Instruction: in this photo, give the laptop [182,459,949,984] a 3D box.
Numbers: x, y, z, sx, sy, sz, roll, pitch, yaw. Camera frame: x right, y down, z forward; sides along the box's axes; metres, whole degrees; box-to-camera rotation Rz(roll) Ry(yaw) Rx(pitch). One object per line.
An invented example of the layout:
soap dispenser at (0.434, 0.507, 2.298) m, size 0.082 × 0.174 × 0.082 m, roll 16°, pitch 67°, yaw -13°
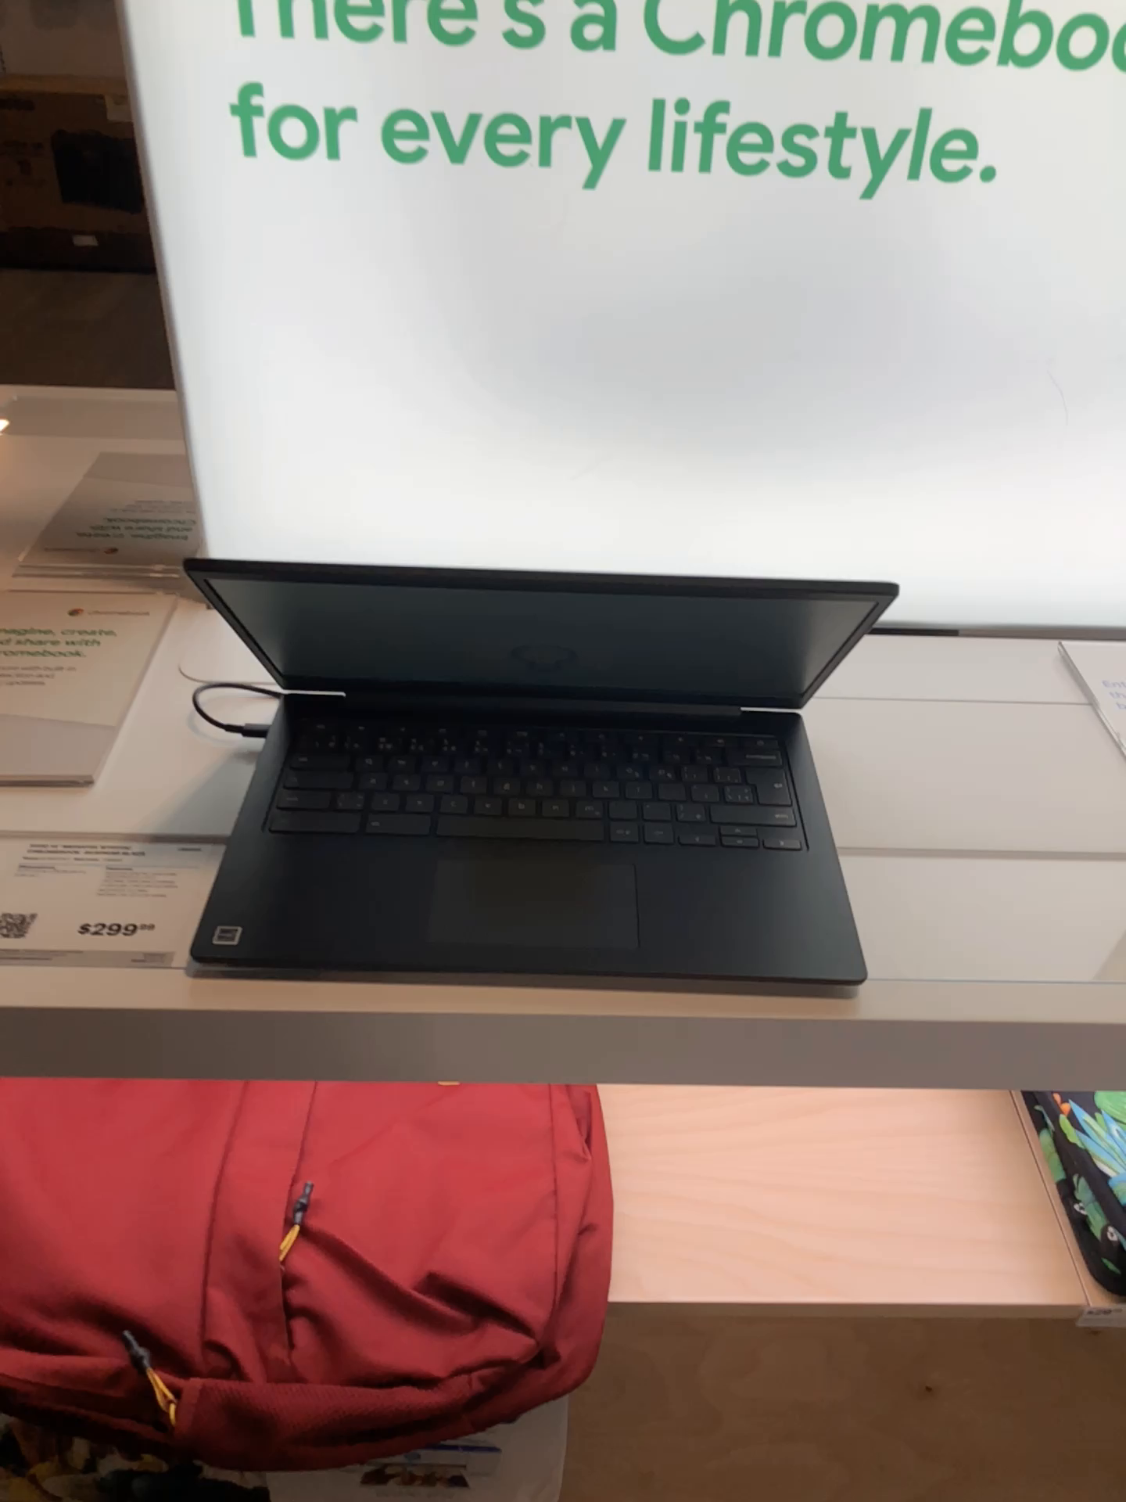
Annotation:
laptop at (0.000, -0.024, 0.623) m, size 0.306 × 0.157 × 0.214 m, roll 2°, pitch 37°, yaw 0°
